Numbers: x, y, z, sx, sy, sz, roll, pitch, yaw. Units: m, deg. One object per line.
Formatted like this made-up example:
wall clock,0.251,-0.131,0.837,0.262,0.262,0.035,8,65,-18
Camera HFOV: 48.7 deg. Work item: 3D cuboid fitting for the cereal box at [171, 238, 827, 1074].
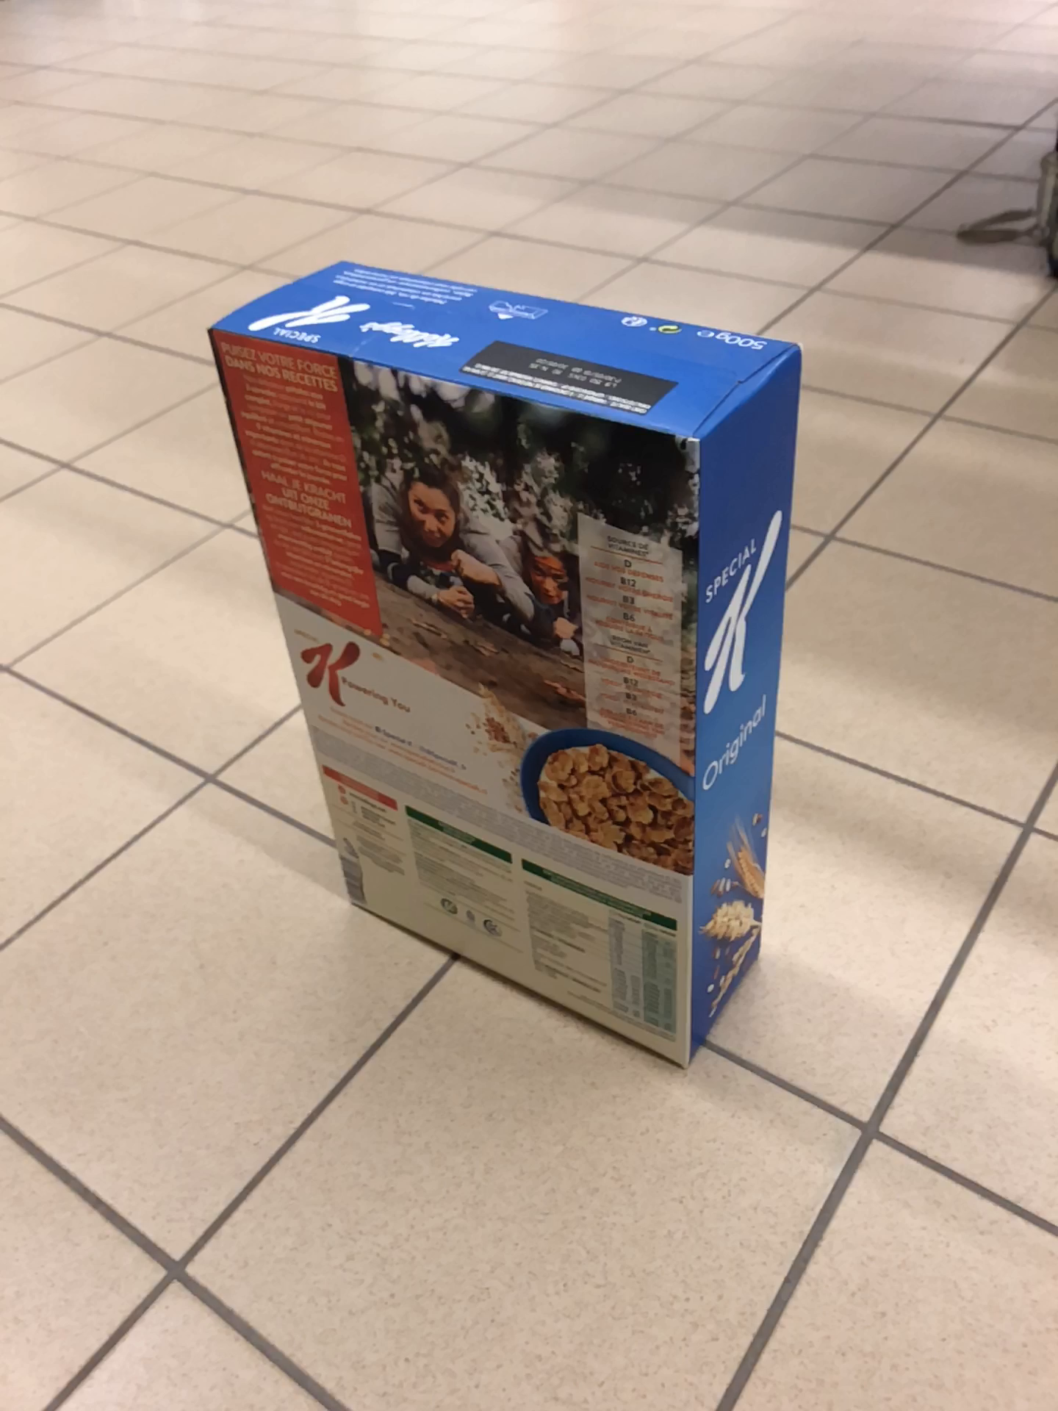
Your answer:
cereal box,-0.007,-0.012,0.470,0.210,0.298,0.070,20,45,28
